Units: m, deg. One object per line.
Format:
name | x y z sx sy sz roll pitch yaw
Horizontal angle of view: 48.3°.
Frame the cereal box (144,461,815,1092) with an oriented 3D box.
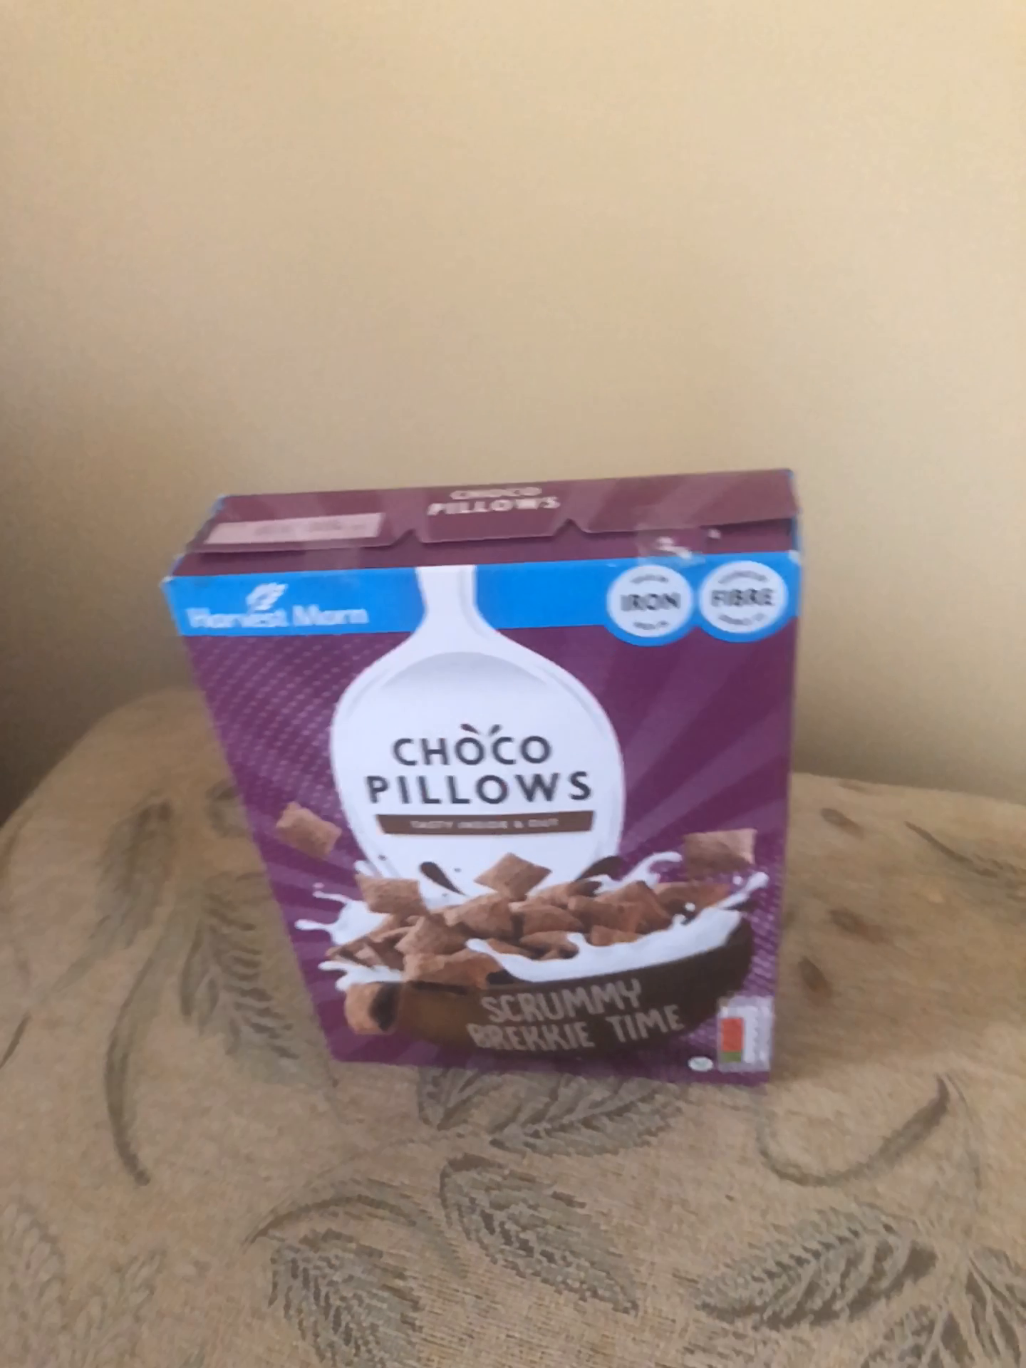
cereal box | 0.000 0.056 0.449 0.200 0.278 0.060 -1 39 5
